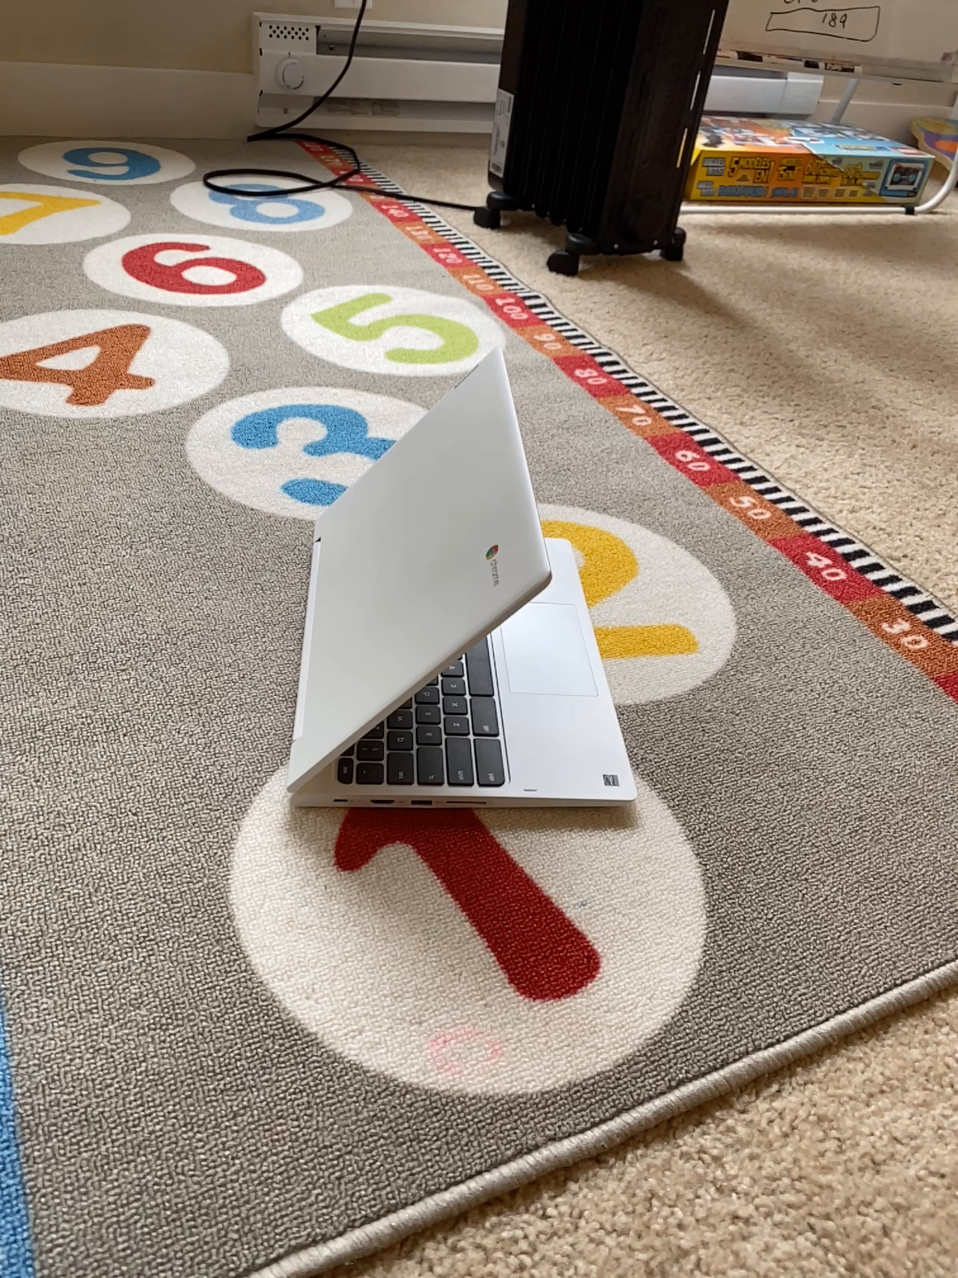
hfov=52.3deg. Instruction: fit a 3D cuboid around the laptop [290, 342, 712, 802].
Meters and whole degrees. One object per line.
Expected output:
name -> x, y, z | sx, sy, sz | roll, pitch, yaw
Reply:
laptop -> -0.006, -0.058, 0.660 | 0.216, 0.162, 0.300 | 2, 37, -7
